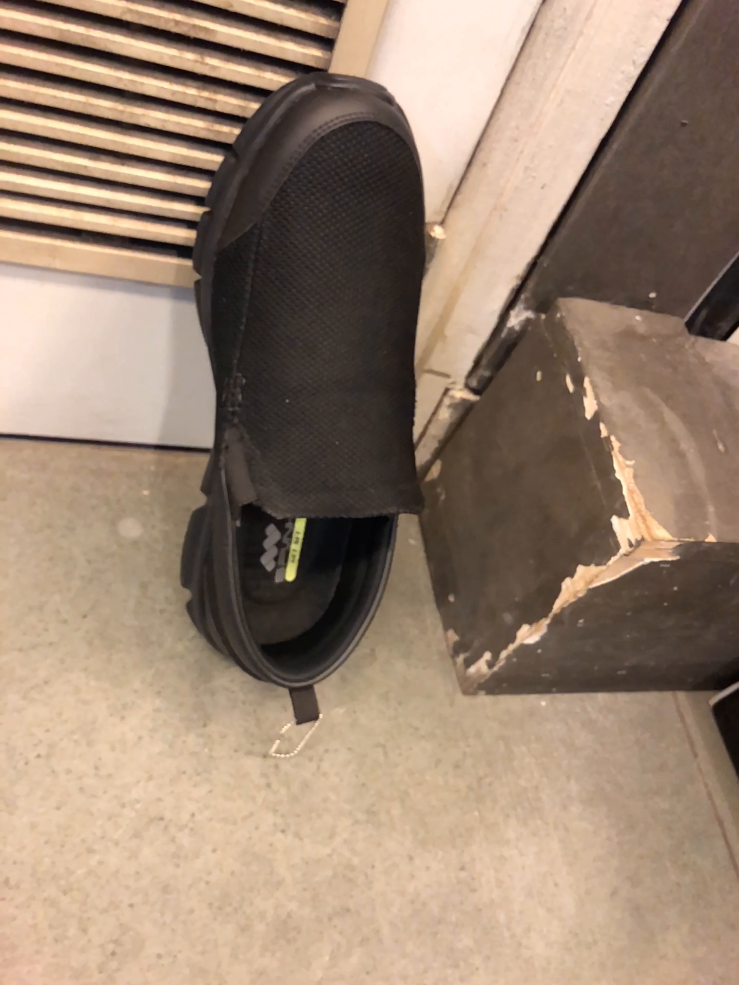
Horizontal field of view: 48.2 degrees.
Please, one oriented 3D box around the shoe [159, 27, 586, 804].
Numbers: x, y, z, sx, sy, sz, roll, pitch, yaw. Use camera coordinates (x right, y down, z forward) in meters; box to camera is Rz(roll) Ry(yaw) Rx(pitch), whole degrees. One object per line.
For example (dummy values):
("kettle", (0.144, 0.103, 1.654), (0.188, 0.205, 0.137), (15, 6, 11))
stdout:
("shoe", (-0.020, -0.029, 0.371), (0.112, 0.291, 0.127), (0, 23, -23))
